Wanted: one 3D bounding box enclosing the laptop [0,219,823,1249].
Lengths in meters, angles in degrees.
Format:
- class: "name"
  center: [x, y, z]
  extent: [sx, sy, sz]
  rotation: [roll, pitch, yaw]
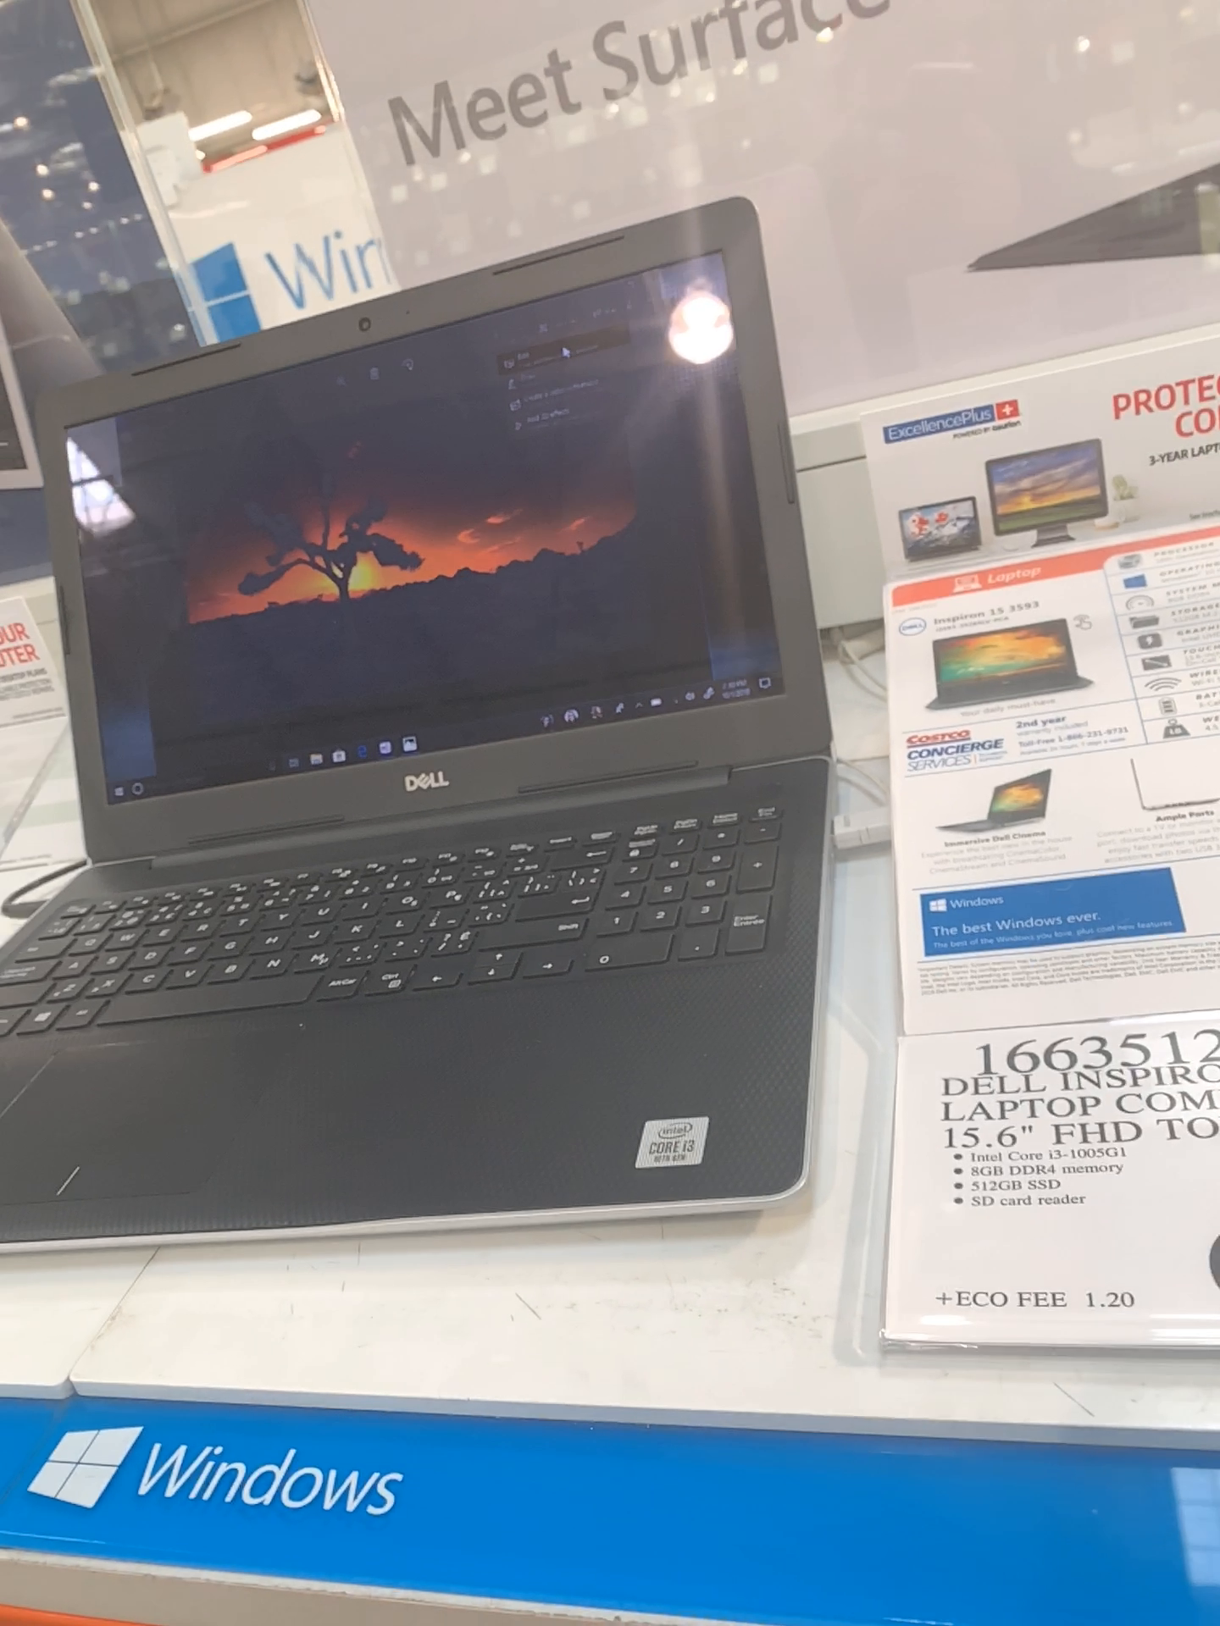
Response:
- class: "laptop"
  center: [-0.125, -0.055, 0.458]
  extent: [0.357, 0.205, 0.343]
  rotation: [-8, 25, 15]
